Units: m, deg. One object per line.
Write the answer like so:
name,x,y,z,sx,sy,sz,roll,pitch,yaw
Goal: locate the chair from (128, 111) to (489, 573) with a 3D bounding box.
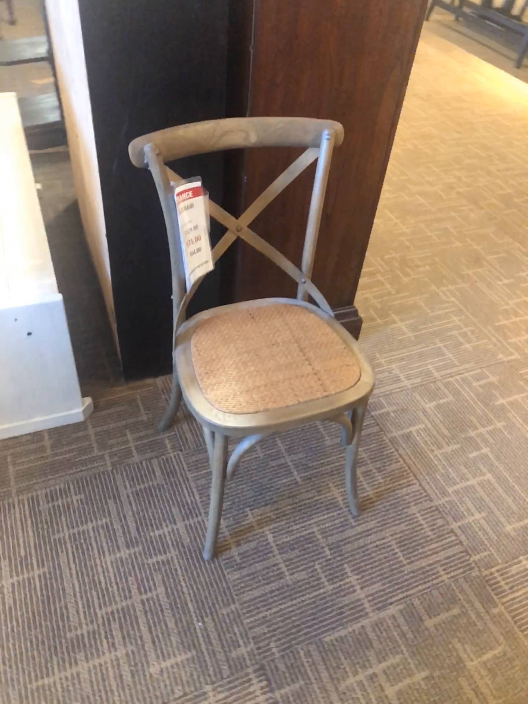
chair,0.009,-0.009,1.335,0.491,0.861,0.531,-10,45,-18
